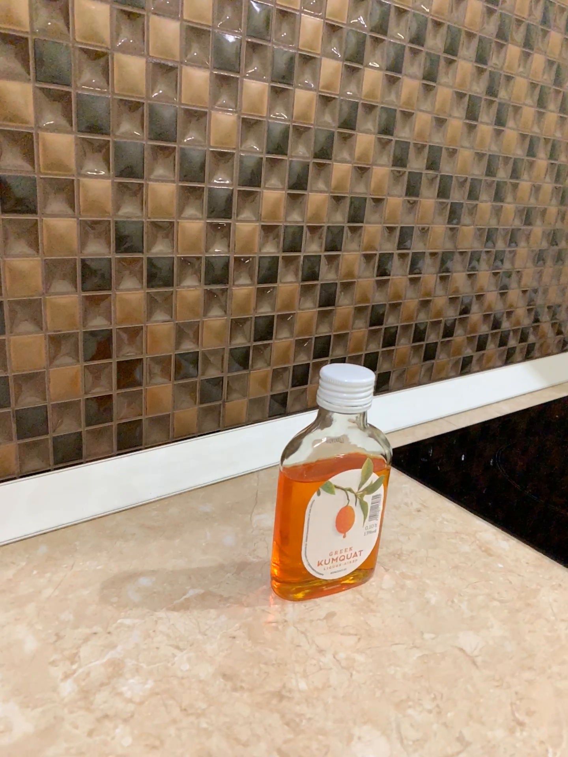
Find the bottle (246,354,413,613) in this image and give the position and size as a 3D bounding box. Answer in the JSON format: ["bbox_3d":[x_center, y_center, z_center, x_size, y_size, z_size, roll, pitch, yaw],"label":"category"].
[{"bbox_3d":[0.023,0.058,0.334,0.070,0.133,0.040,-4,21,-25],"label":"bottle"}]
